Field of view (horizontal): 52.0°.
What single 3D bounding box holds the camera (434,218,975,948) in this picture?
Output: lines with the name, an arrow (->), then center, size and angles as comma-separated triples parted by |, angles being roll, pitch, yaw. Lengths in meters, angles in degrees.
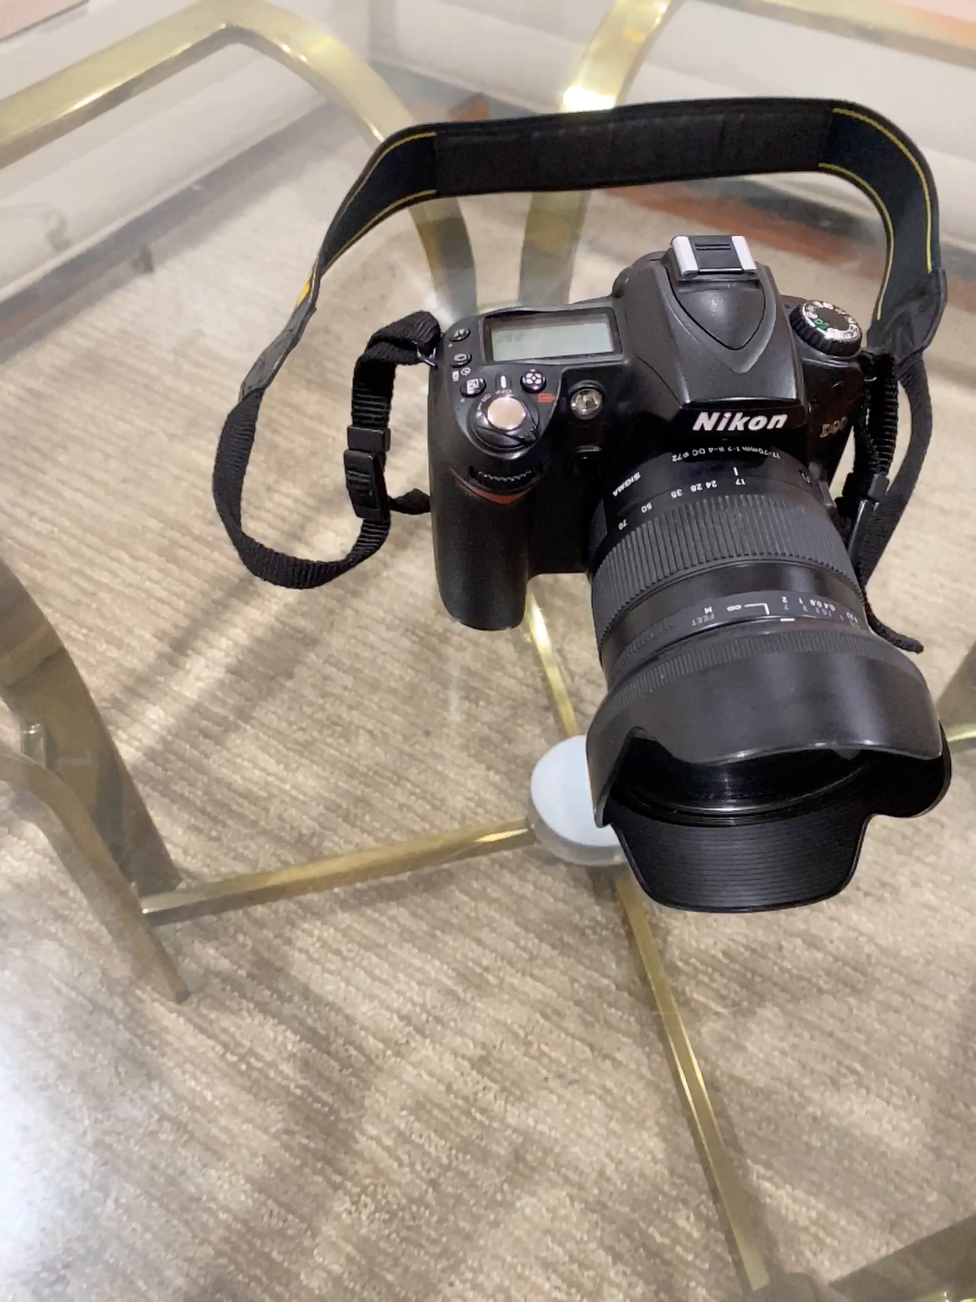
camera -> 0.055, -0.025, 0.304 | 0.130, 0.120, 0.181 | -3, 52, -4
